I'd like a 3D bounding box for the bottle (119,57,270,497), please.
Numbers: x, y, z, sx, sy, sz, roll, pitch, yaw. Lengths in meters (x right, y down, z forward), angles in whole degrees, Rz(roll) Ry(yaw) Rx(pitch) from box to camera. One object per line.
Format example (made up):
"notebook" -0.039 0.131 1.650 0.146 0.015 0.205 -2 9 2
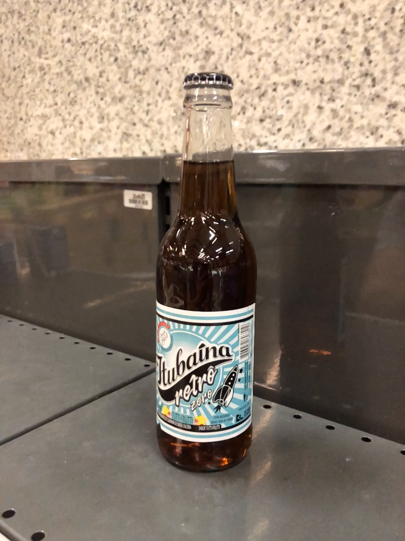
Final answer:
"bottle" -0.002 0.007 0.276 0.070 0.239 0.050 5 12 24
